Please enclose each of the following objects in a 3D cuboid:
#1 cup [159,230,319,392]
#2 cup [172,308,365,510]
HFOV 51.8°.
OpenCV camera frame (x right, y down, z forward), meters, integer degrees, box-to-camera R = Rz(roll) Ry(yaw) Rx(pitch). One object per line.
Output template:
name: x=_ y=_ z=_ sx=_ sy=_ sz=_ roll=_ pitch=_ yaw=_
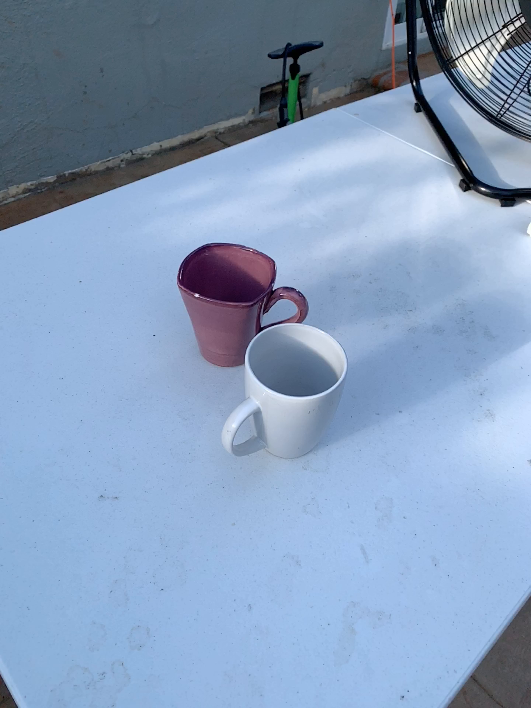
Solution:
cup: x=-0.025 y=-0.048 z=0.598 sx=0.140 sy=0.109 sz=0.110 roll=11 pitch=46 yaw=7
cup: x=0.003 y=0.048 z=0.521 sx=0.150 sy=0.100 sz=0.090 roll=-31 pitch=55 yaw=-29
